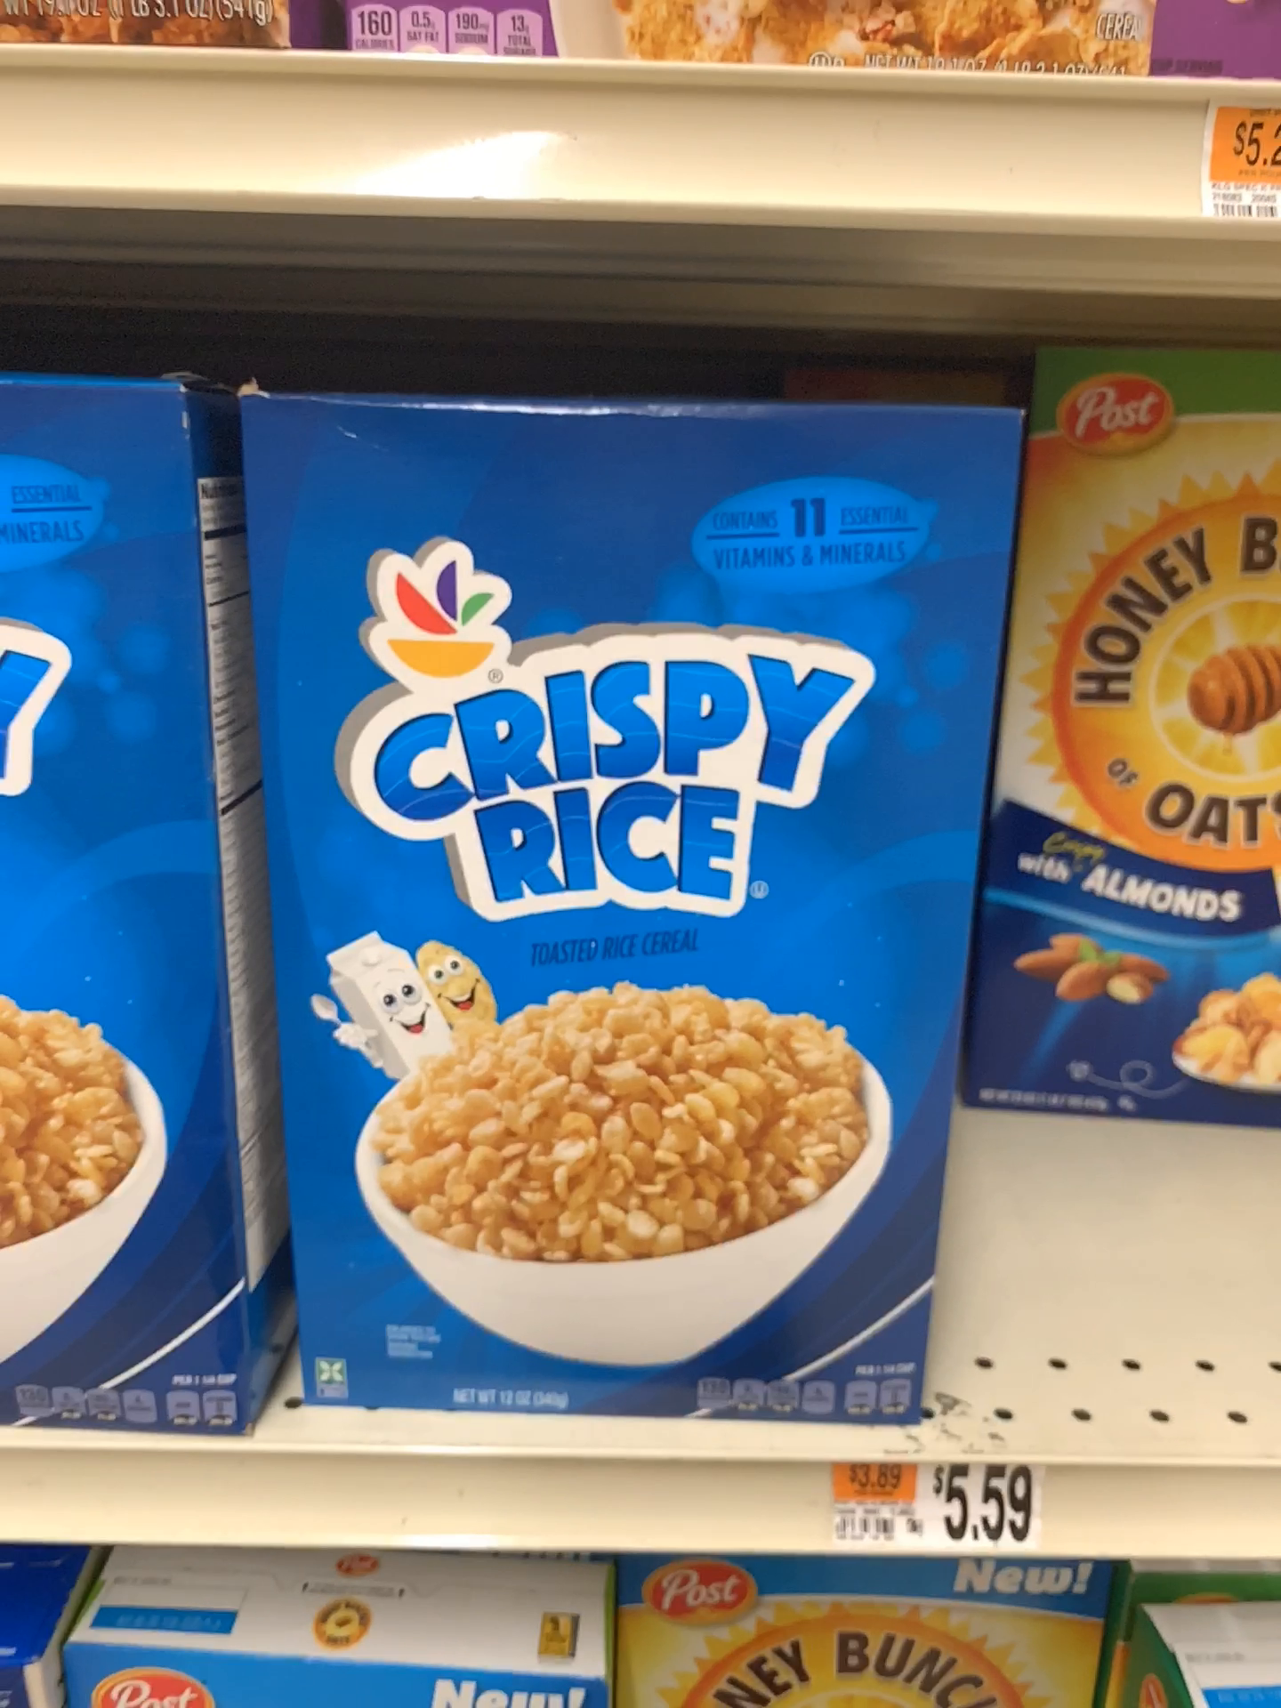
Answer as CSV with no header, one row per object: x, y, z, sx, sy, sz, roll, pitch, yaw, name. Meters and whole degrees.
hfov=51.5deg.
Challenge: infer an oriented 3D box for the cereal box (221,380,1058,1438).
-0.004,0.024,0.415,0.210,0.319,0.070,1,18,0,cereal box
